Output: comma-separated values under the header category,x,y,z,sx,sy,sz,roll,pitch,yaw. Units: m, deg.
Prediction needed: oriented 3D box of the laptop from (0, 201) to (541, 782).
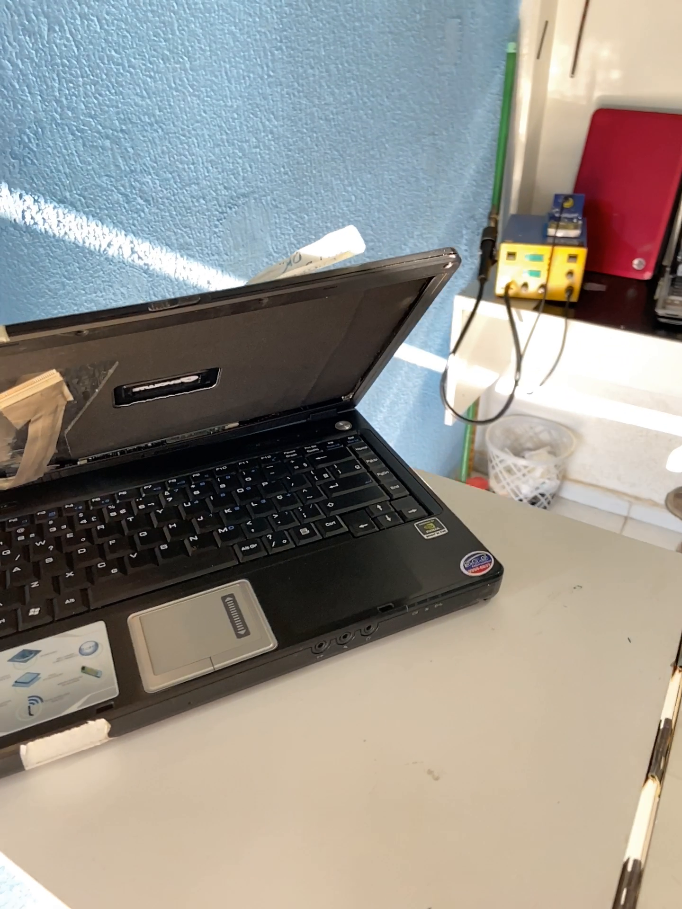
category,x,y,z,sx,sy,sz,roll,pitch,yaw
laptop,-0.096,-0.018,0.417,0.329,0.174,0.225,-15,35,-20
